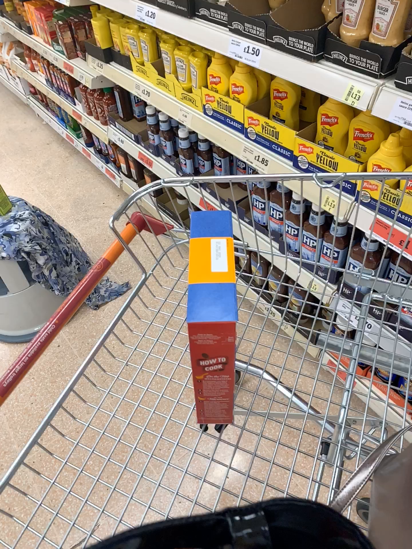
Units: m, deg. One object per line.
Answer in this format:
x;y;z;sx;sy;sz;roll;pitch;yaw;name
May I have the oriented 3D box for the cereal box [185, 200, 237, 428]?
0.008;0.062;0.558;0.050;0.258;0.182;-1;47;1;cereal box
